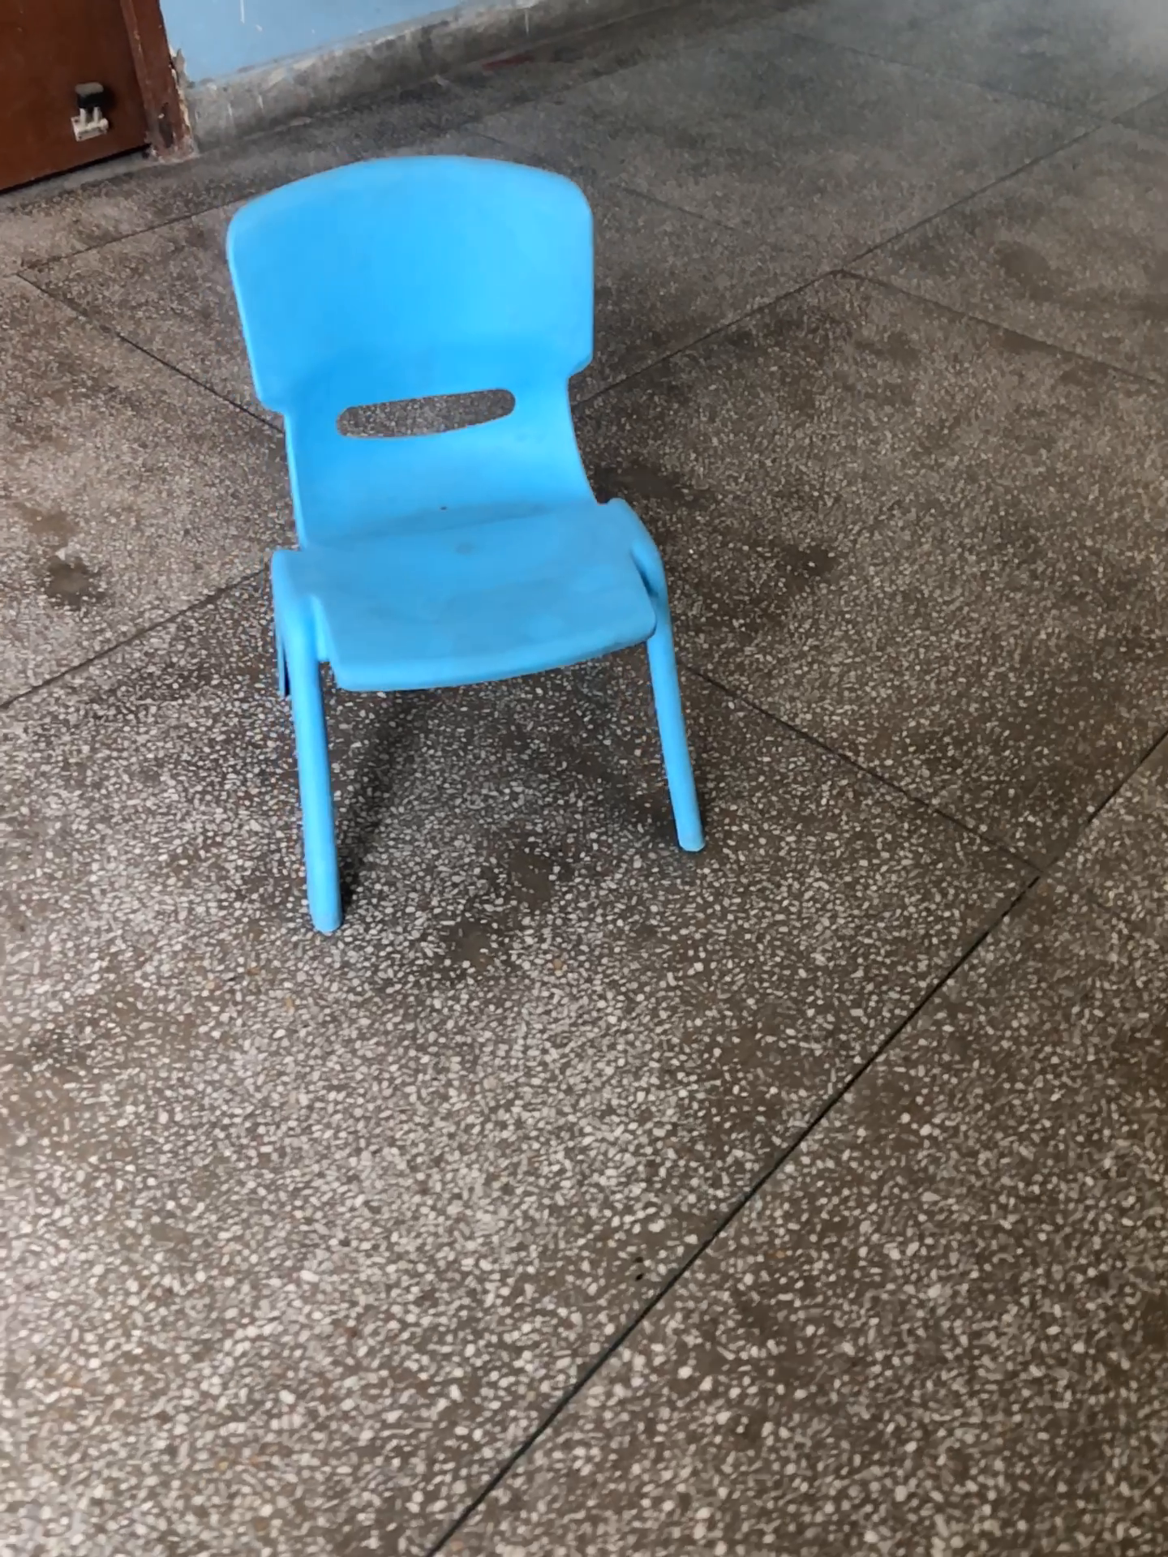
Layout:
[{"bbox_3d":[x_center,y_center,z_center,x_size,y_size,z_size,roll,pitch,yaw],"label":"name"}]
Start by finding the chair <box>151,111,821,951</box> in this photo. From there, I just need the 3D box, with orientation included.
[{"bbox_3d":[-0.096,-0.203,1.058,0.380,0.498,0.392,-11,46,-12],"label":"chair"}]
